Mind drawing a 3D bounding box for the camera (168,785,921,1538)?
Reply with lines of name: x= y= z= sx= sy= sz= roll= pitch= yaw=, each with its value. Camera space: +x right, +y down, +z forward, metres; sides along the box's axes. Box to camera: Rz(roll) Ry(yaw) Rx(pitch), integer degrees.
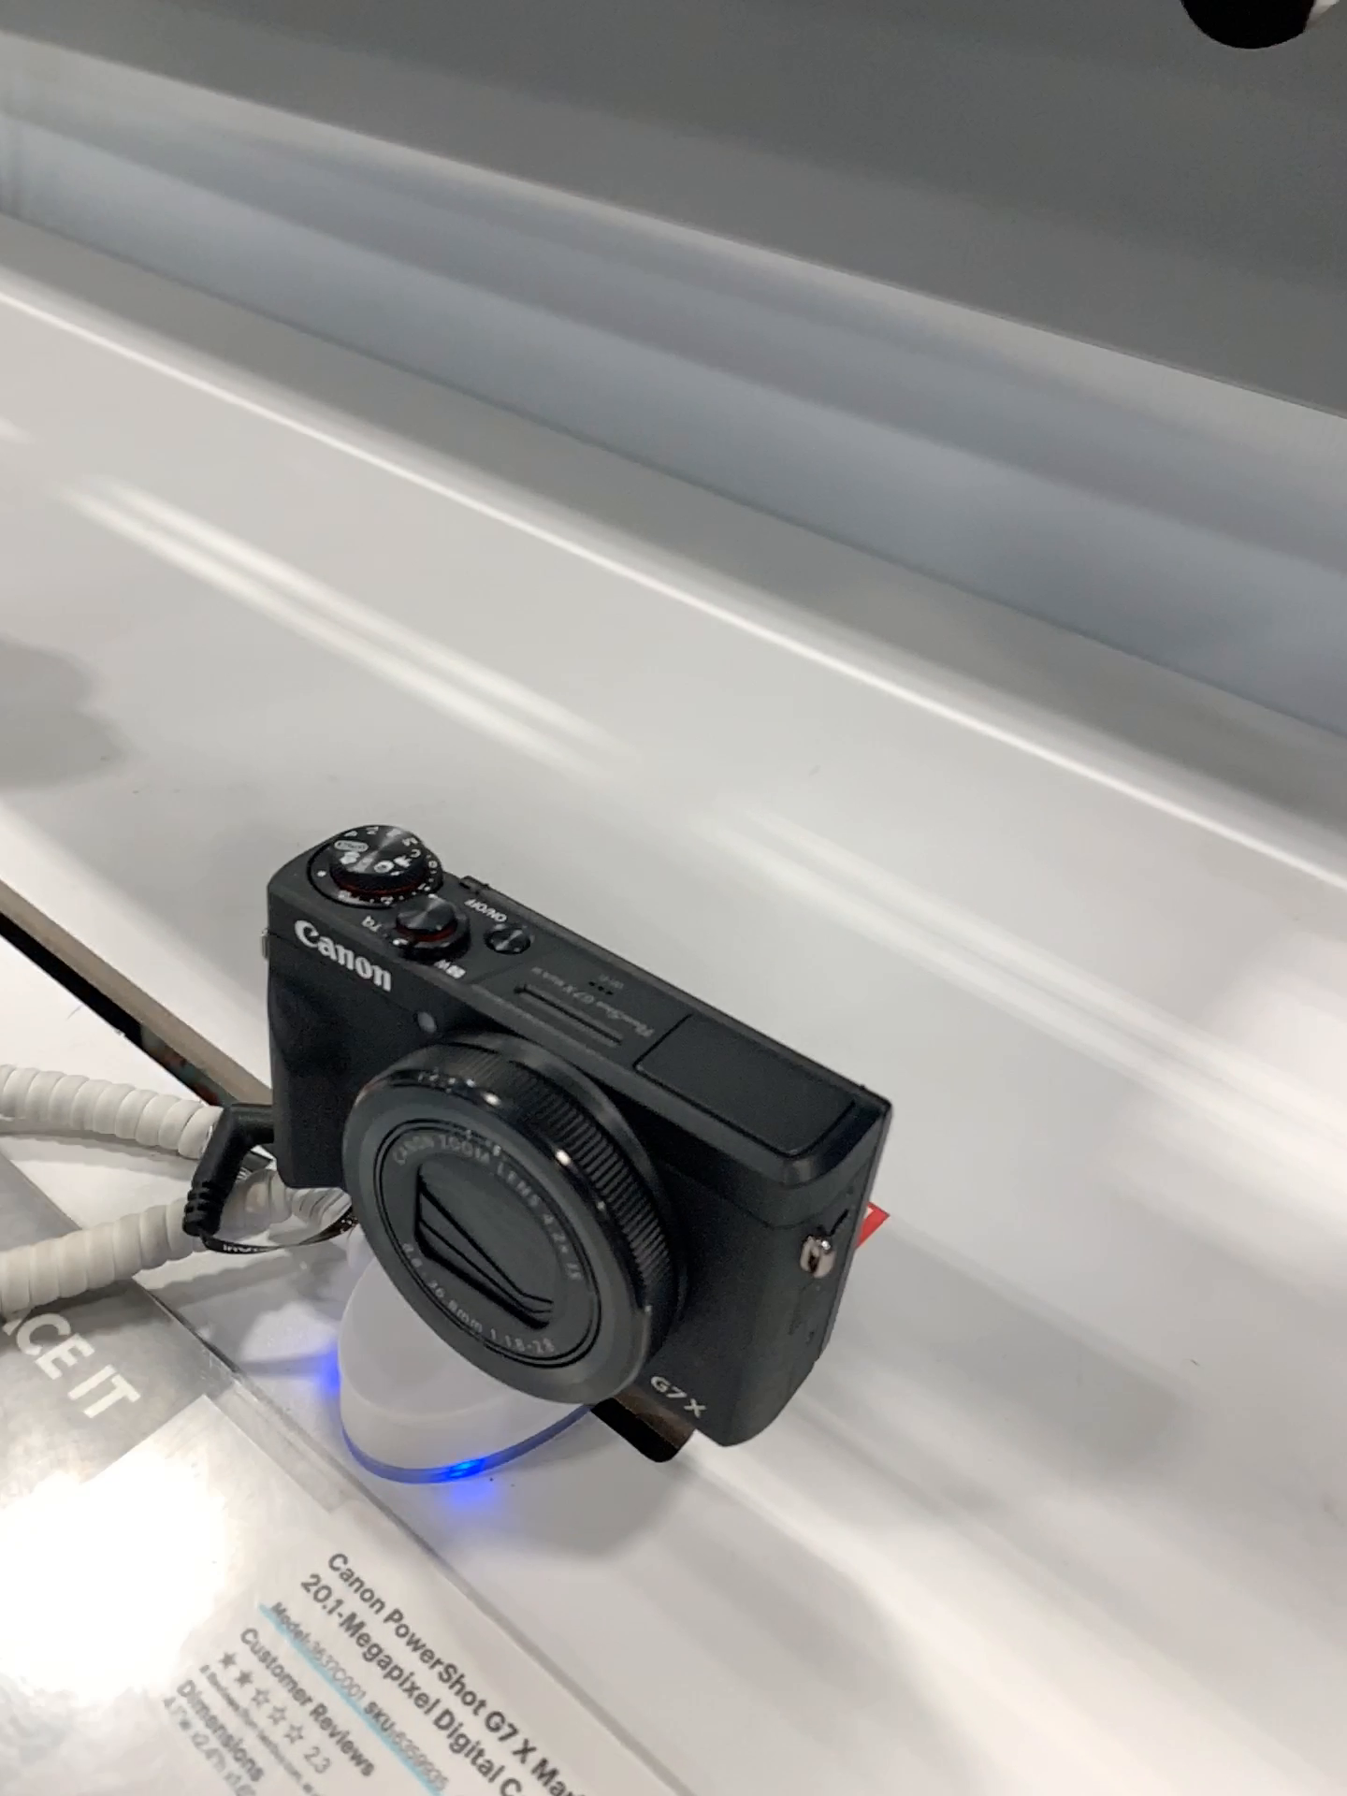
camera: x=-0.025 y=0.037 z=0.223 sx=0.110 sy=0.062 sz=0.040 roll=27 pitch=38 yaw=23
